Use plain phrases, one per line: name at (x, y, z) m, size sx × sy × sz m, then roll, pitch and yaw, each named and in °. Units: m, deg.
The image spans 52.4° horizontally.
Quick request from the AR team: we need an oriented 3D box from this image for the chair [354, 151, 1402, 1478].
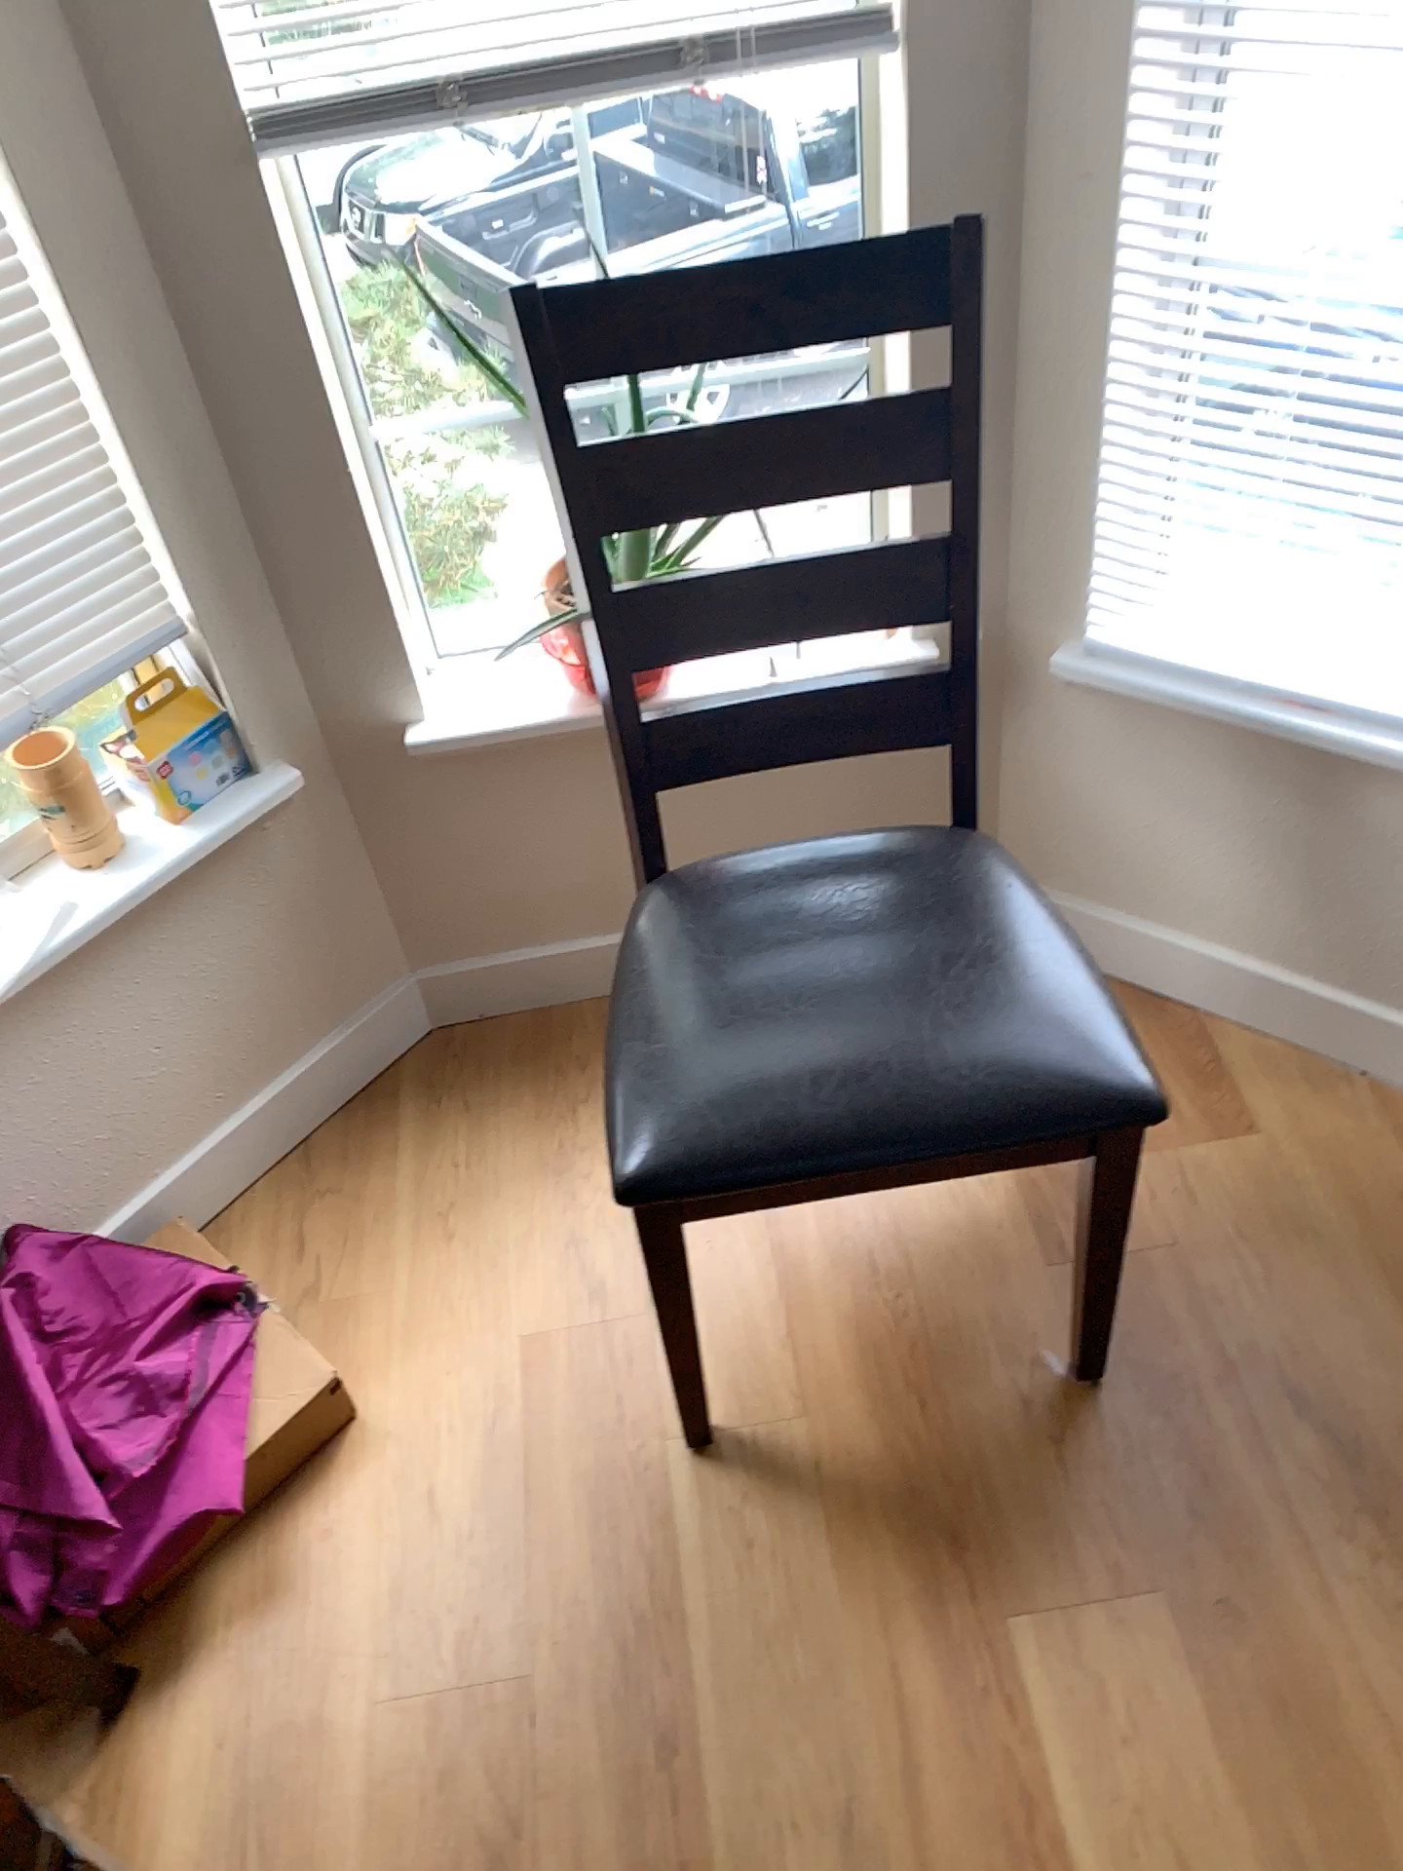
chair at (0.119, -0.049, 1.245) m, size 0.560 × 0.946 × 0.542 m, roll -9°, pitch 43°, yaw -1°
